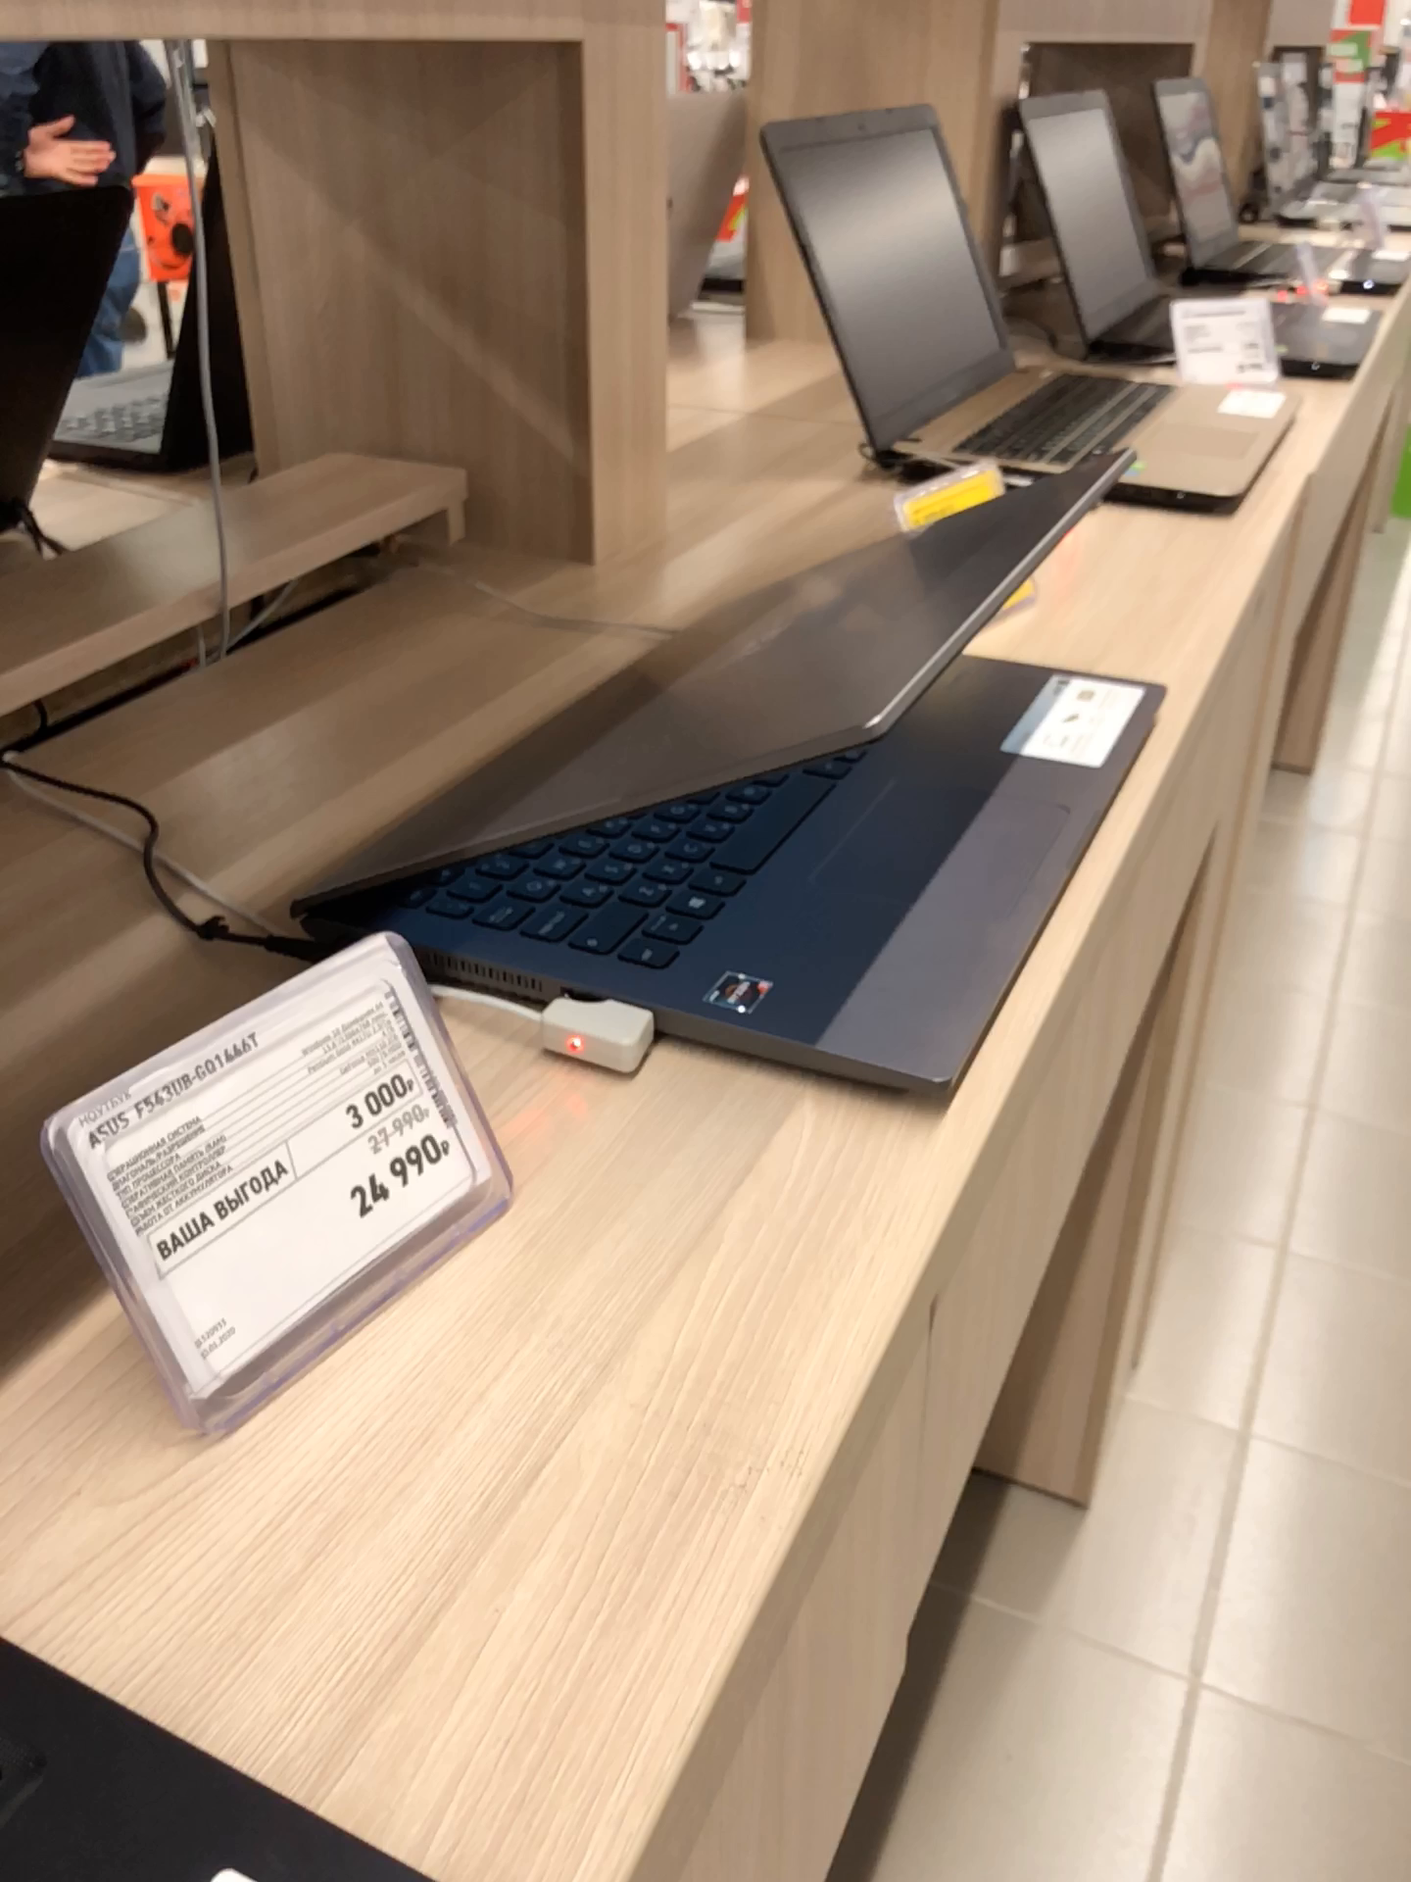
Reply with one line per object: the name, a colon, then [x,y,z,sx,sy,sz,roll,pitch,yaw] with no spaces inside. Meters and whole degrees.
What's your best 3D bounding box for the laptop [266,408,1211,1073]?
laptop: [0.041,-0.111,0.614,0.232,0.111,0.350,12,32,21]
